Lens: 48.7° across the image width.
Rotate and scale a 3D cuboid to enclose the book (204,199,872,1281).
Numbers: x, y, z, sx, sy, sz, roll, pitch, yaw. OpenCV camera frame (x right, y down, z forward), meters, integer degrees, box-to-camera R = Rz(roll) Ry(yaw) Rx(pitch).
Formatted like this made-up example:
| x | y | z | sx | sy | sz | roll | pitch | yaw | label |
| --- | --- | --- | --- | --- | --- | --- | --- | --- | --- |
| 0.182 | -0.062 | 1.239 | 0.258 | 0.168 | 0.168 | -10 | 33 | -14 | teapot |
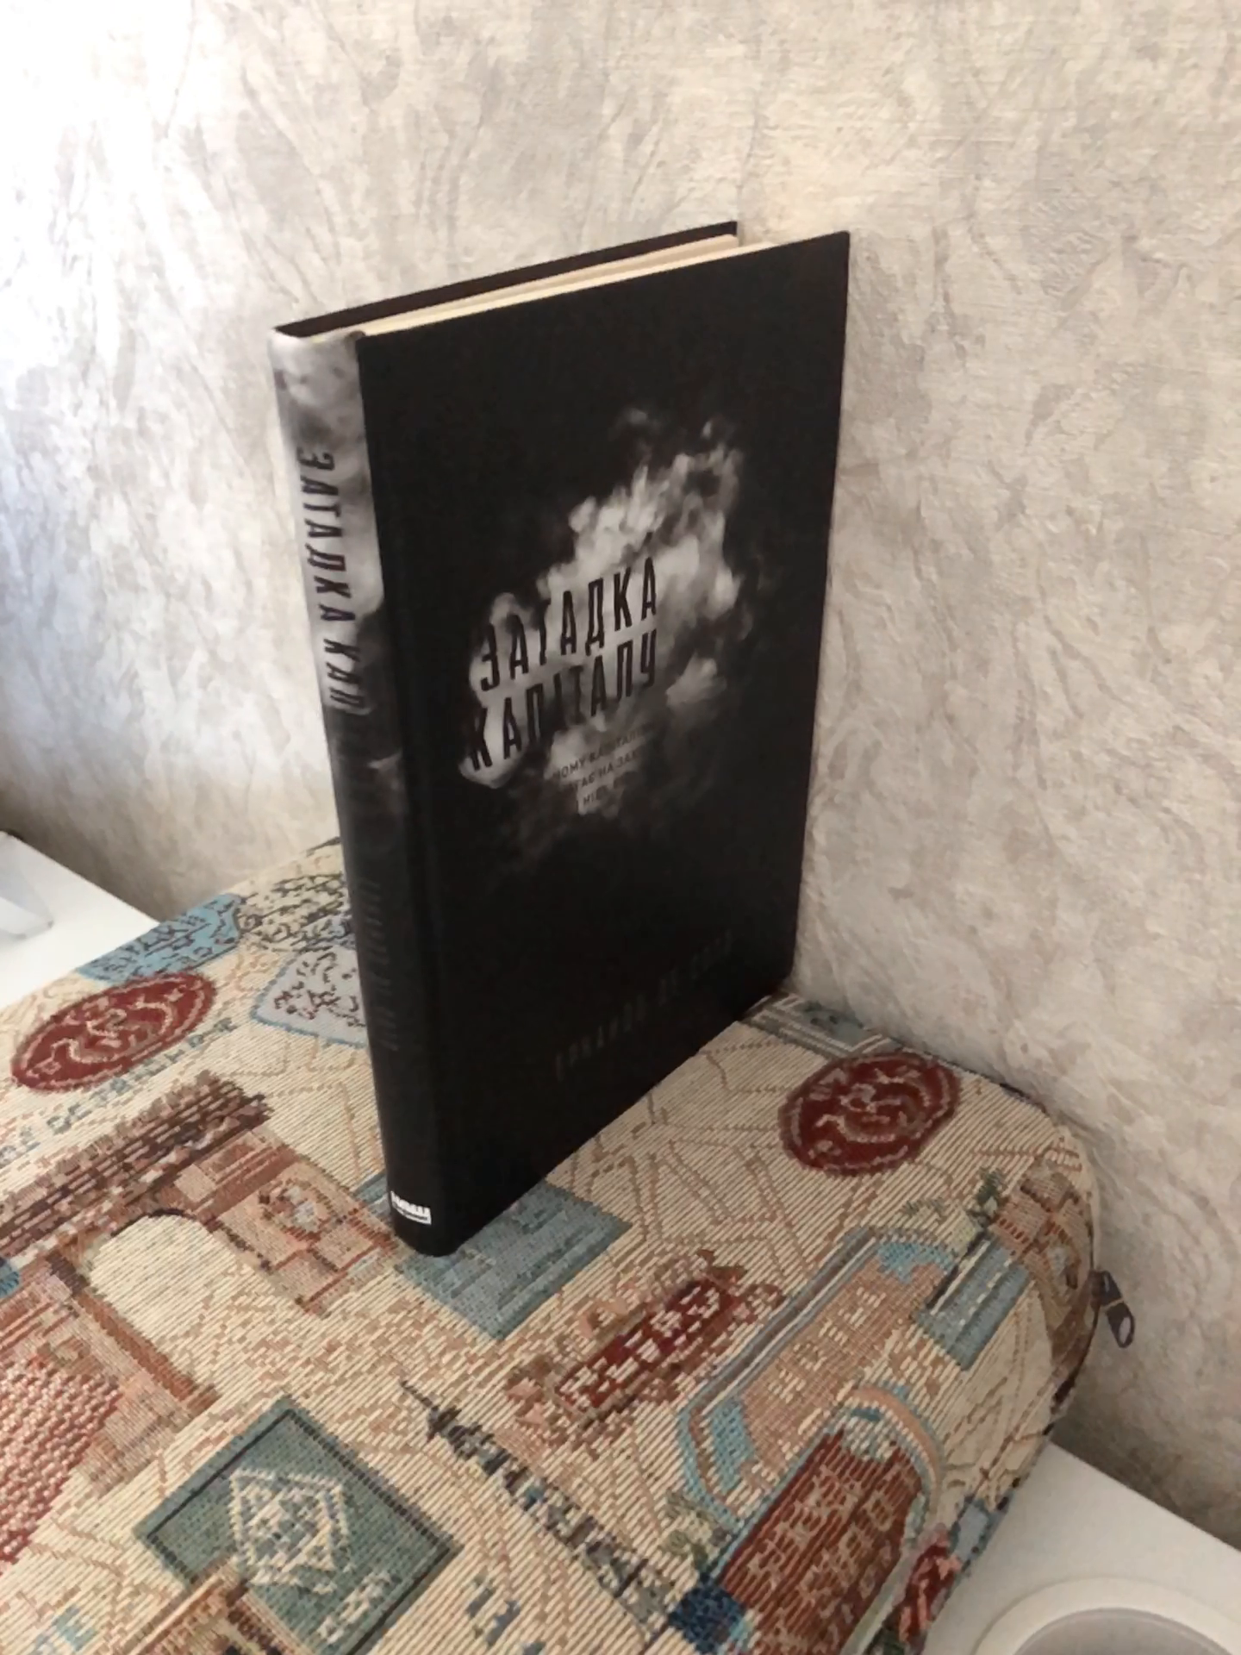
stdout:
| x | y | z | sx | sy | sz | roll | pitch | yaw | label |
| --- | --- | --- | --- | --- | --- | --- | --- | --- | --- |
| -0.002 | -0.019 | 0.304 | 0.035 | 0.200 | 0.138 | 24 | 42 | 36 | book |
